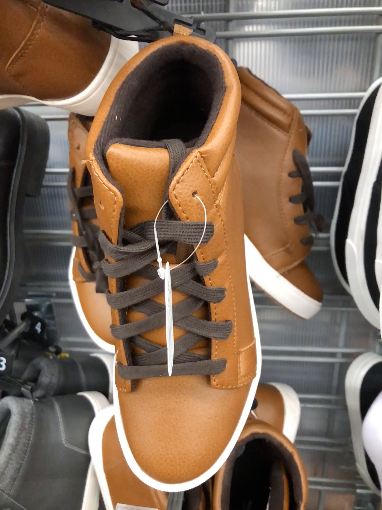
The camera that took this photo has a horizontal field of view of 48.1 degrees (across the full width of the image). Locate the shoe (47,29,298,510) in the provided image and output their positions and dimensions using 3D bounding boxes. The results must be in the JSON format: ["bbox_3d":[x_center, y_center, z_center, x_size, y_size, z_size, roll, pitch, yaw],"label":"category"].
[{"bbox_3d":[-0.006,0.025,0.226,0.096,0.227,0.110,-1,1,2],"label":"shoe"}]
